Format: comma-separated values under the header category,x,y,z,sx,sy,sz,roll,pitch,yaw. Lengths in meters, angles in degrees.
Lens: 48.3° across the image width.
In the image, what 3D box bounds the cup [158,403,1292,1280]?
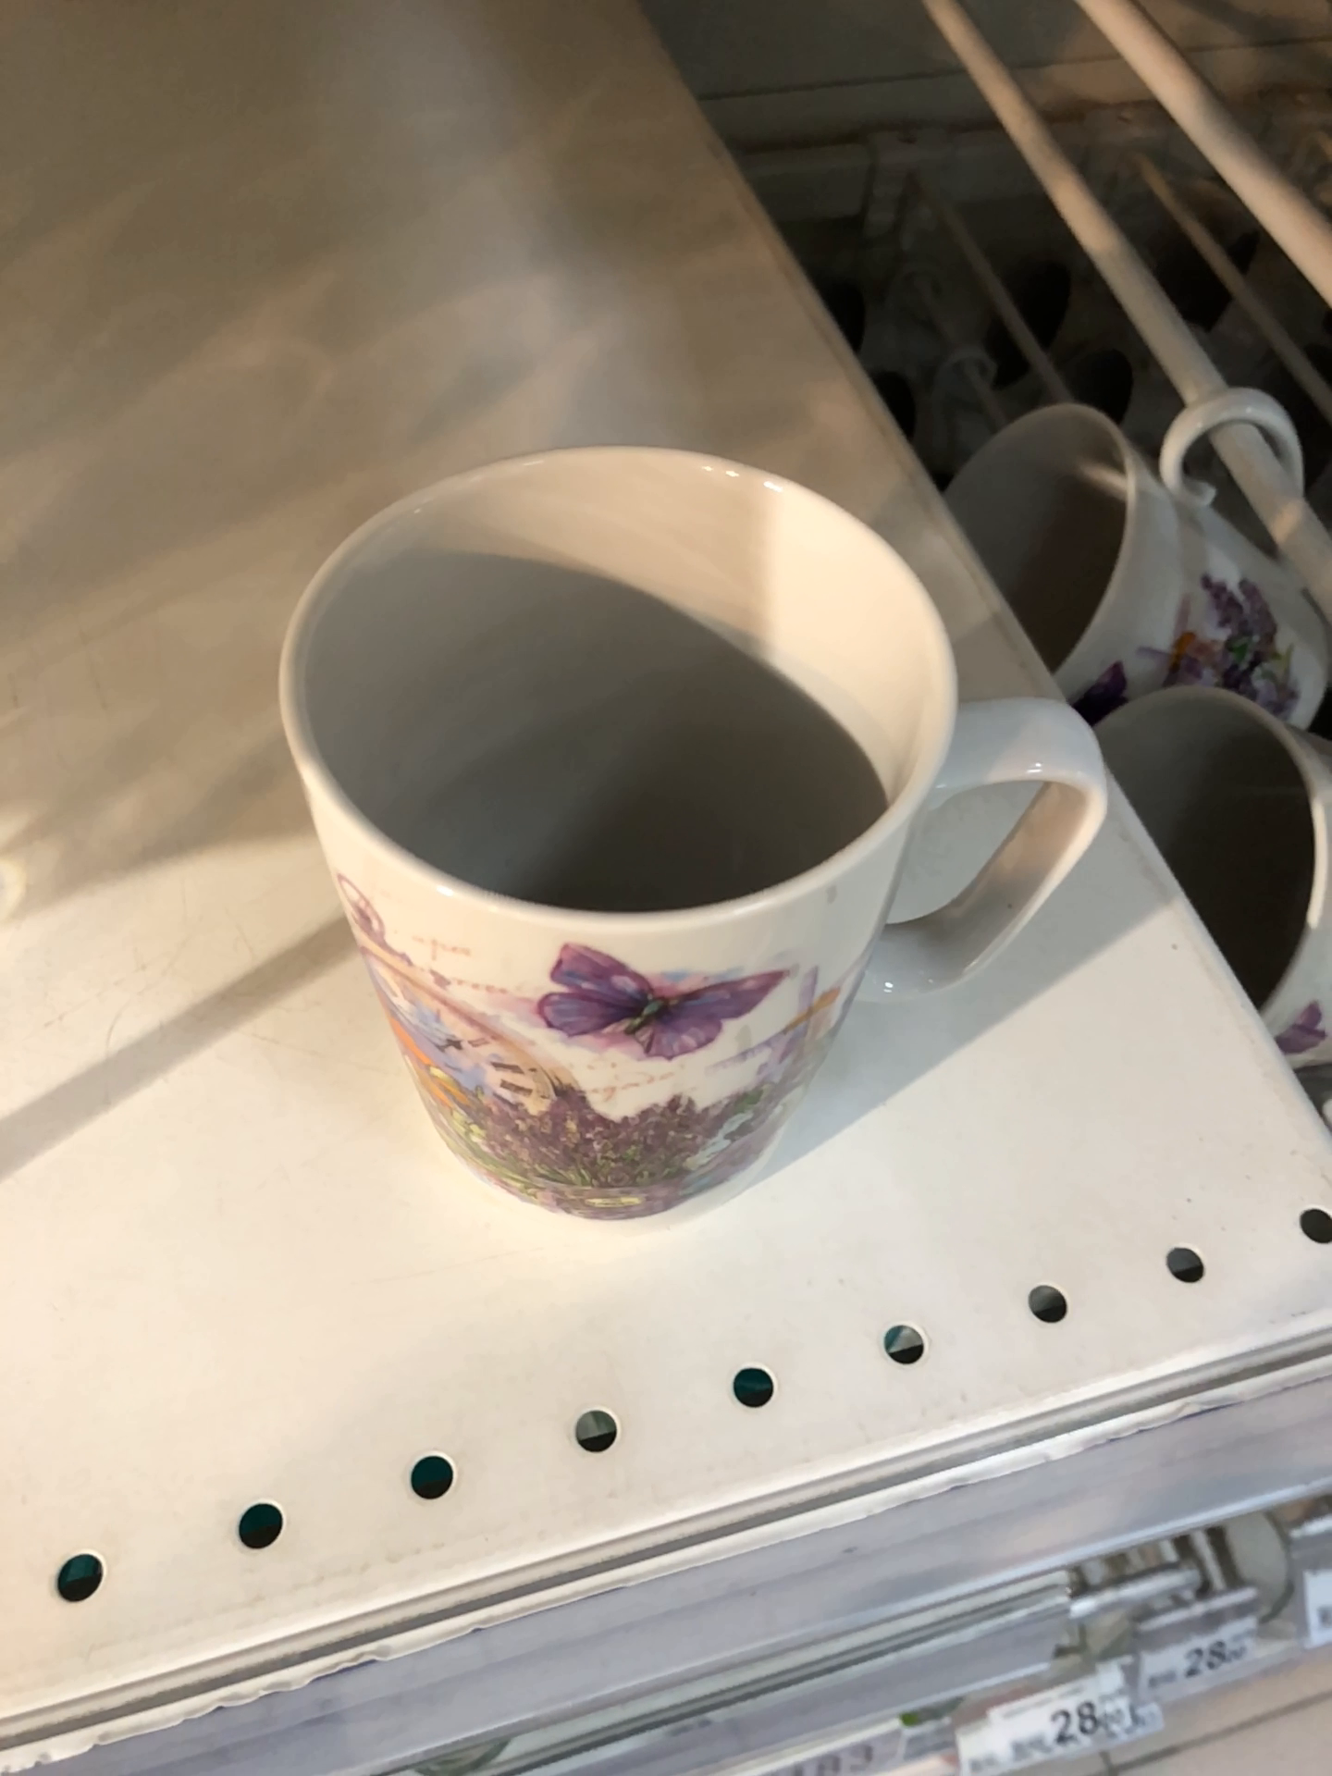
category,x,y,z,sx,sy,sz,roll,pitch,yaw
cup,0.002,-0.004,0.216,0.119,0.094,0.082,-3,56,-5
